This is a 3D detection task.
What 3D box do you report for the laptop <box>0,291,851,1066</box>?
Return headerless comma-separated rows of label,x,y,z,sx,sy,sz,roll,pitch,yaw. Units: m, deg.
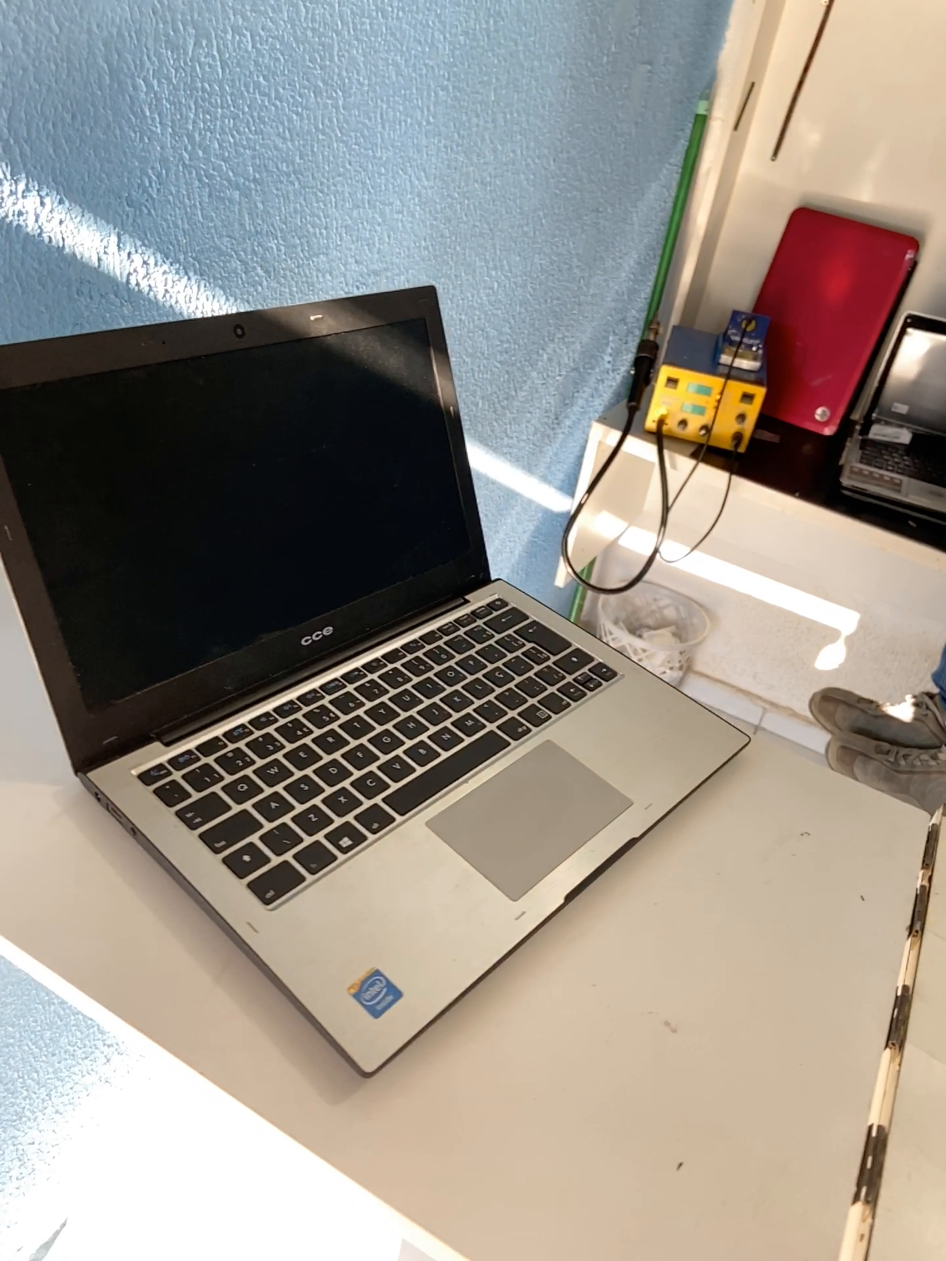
laptop,-0.036,-0.026,0.512,0.303,0.181,0.314,33,40,29
